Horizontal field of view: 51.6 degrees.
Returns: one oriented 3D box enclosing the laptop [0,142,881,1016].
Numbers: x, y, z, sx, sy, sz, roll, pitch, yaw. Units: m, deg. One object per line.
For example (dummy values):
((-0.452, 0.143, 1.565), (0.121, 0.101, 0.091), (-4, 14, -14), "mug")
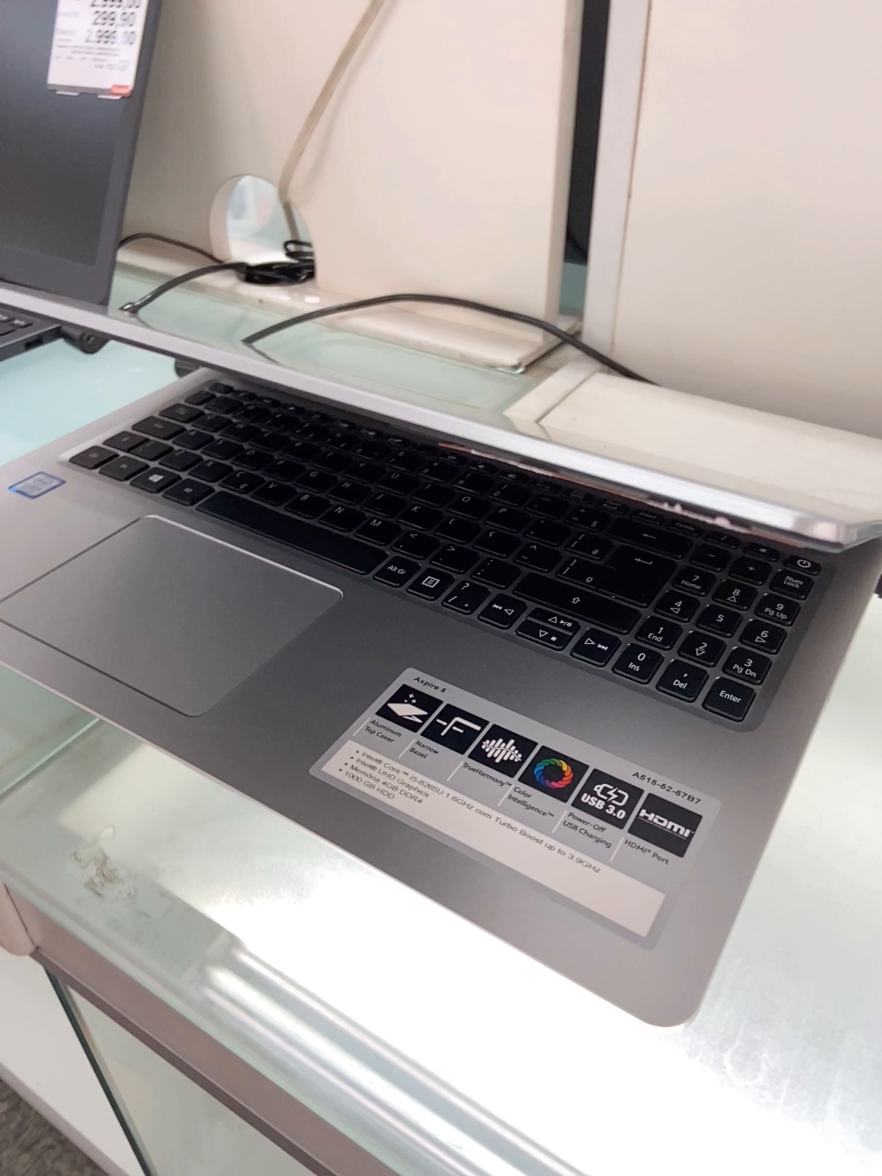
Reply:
((-0.036, -0.064, 0.341), (0.364, 0.116, 0.246), (20, 41, 25), "laptop")
